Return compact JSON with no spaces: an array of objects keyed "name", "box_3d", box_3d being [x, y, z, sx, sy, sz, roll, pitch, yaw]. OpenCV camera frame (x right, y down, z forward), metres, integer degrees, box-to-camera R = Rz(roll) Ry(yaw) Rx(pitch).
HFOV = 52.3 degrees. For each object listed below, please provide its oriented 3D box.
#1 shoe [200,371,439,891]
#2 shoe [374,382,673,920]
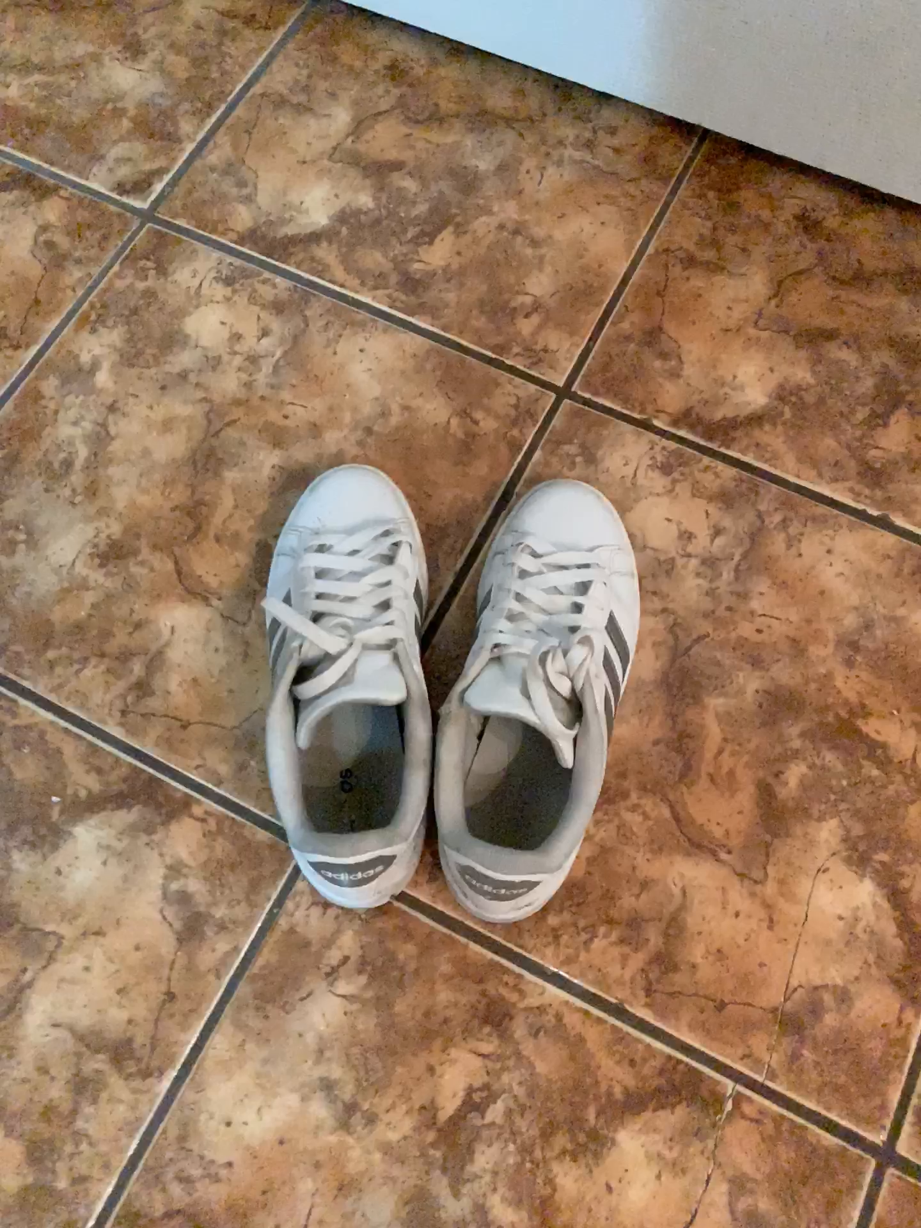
[{"name":"shoe","box_3d":[-0.075,0.008,0.514,0.101,0.104,0.256,-5,66,-1]},{"name":"shoe","box_3d":[0.039,0.018,0.506,0.101,0.104,0.256,10,67,6]}]
